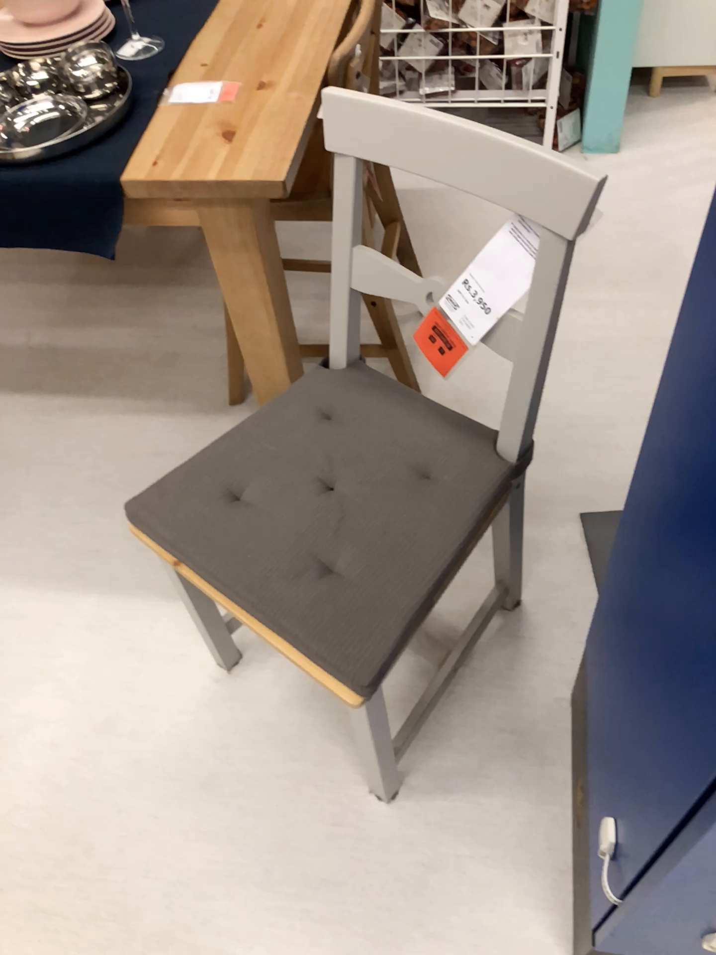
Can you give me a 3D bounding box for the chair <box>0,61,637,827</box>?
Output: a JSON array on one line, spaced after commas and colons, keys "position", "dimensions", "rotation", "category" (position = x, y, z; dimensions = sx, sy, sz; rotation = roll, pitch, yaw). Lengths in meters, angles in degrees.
[{"position": [-0.025, 0.006, 1.008], "dimensions": [0.431, 0.766, 0.471], "rotation": [31, 61, 27], "category": "chair"}]
